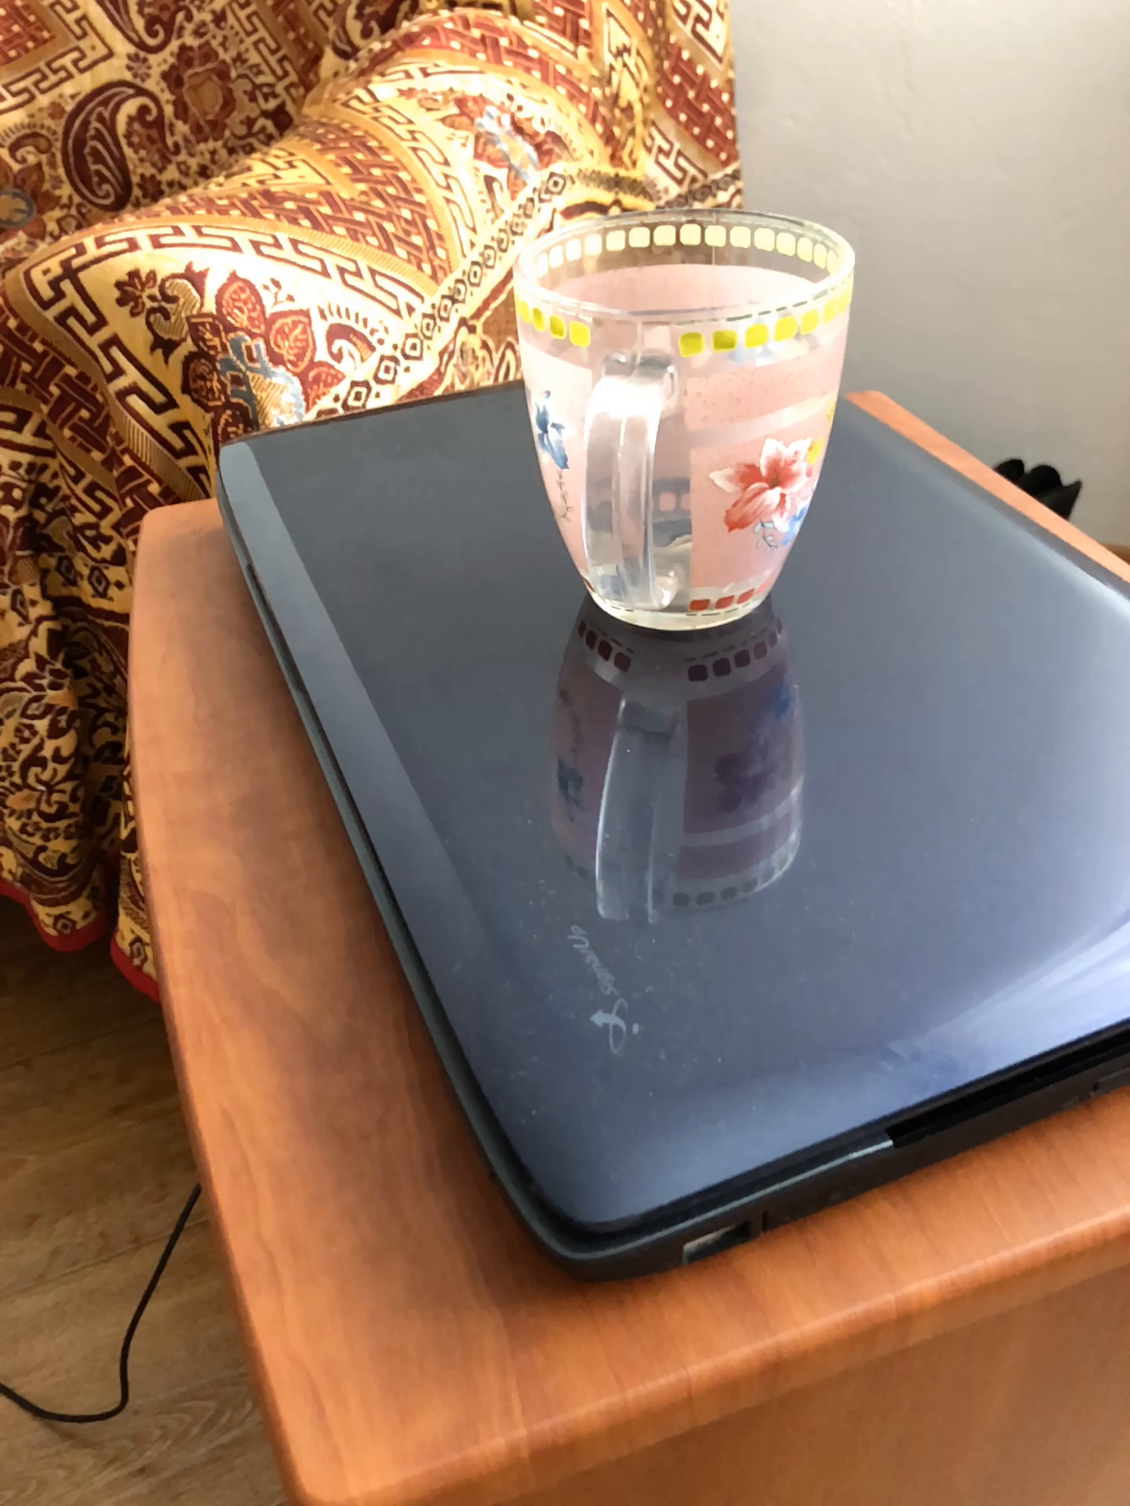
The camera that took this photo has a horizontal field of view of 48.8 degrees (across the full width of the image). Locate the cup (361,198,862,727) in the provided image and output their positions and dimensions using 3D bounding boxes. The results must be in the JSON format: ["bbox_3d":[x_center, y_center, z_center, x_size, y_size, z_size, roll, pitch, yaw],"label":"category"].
[{"bbox_3d":[0.020,-0.083,0.323,0.095,0.081,0.131,8,38,12],"label":"cup"}]
